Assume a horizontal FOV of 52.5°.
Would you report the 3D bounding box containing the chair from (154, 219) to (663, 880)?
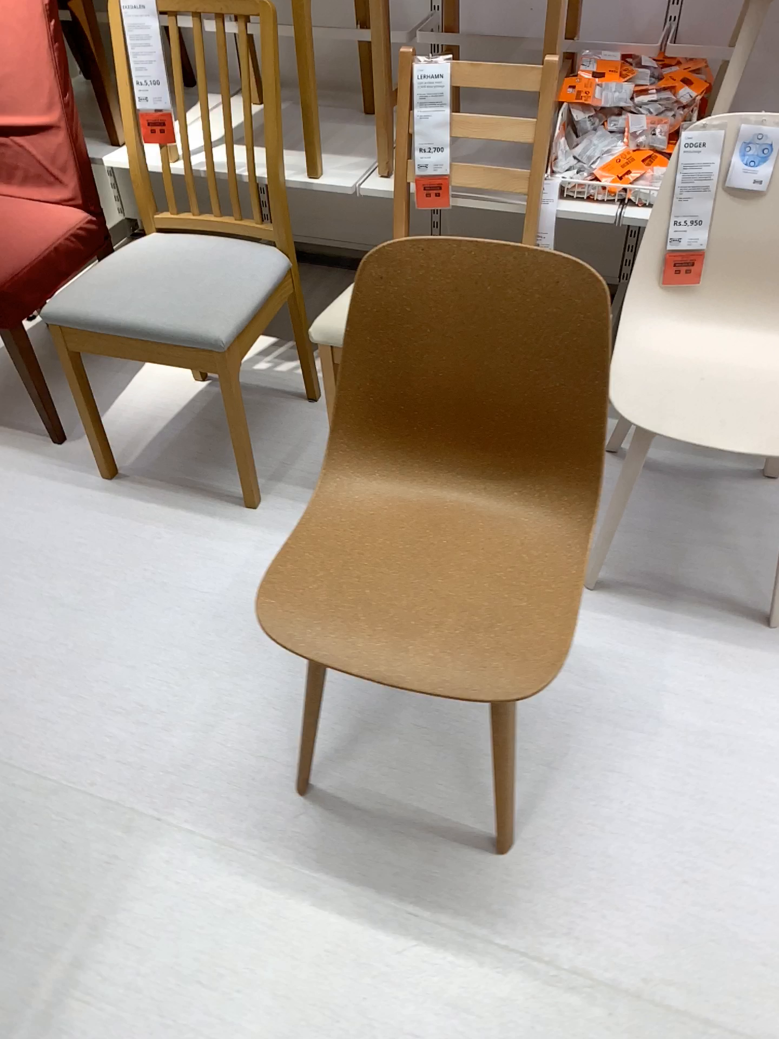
[{"bbox_3d":[0.078,0.051,1.208,0.461,0.757,0.561,12,46,15],"label":"chair"}]
